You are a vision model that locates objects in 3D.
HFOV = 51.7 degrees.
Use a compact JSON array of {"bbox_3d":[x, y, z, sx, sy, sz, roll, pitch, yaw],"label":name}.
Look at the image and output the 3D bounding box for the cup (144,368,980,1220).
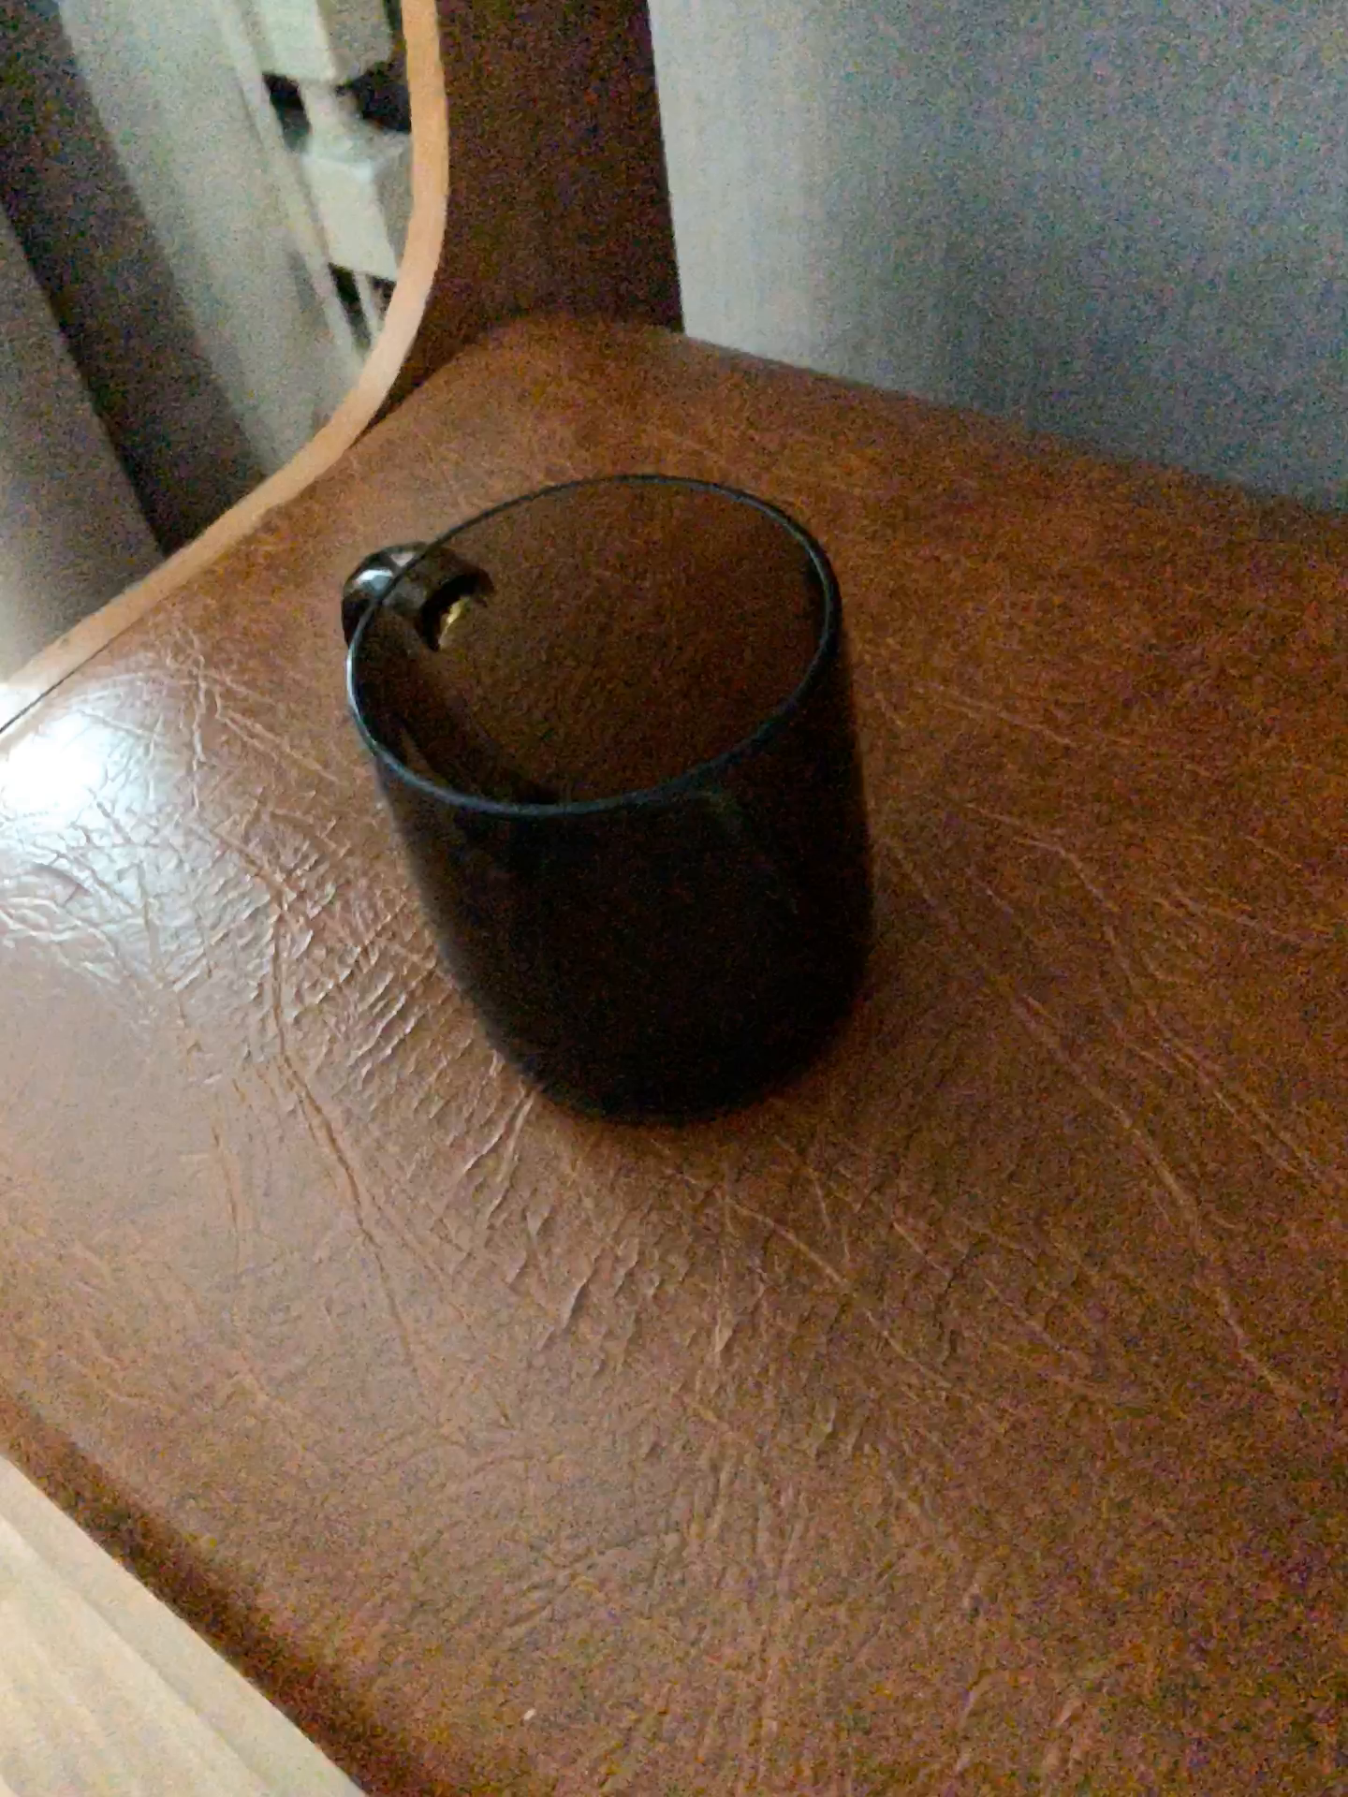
[{"bbox_3d":[-0.018,-0.023,0.265,0.120,0.089,0.080,35,64,31],"label":"cup"}]
